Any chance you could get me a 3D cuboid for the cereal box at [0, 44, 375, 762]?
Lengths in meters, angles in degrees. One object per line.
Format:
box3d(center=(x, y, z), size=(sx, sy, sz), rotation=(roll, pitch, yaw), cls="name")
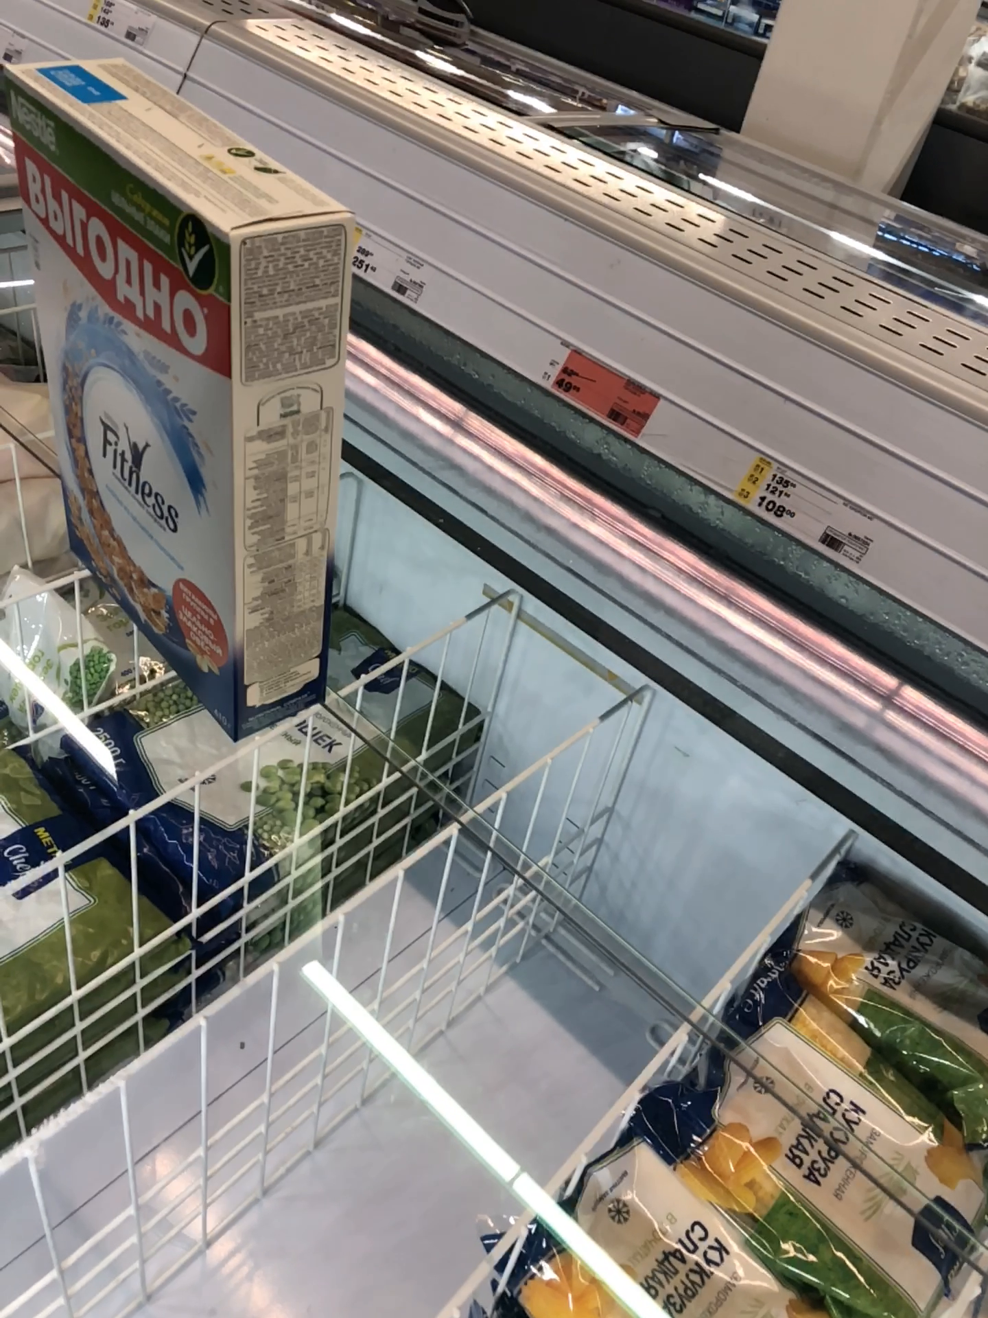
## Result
box3d(center=(-0.150, -0.117, 0.520), size=(0.060, 0.268, 0.201), rotation=(-24, 52, -34), cls="cereal box")
